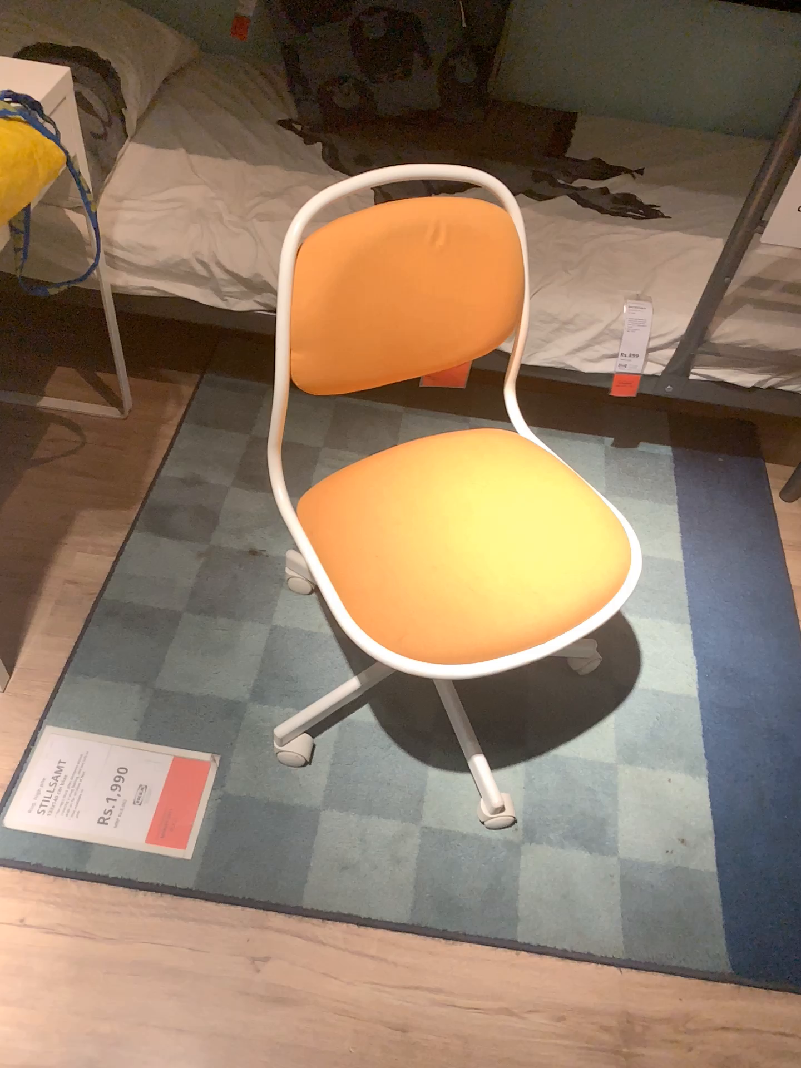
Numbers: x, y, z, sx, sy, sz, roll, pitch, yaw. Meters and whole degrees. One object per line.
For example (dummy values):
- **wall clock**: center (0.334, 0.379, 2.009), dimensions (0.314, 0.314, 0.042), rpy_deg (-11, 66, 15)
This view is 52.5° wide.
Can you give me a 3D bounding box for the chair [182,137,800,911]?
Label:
- **chair**: center (0.117, -0.018, 1.128), dimensions (0.610, 0.708, 0.652), rpy_deg (-15, 54, -19)
